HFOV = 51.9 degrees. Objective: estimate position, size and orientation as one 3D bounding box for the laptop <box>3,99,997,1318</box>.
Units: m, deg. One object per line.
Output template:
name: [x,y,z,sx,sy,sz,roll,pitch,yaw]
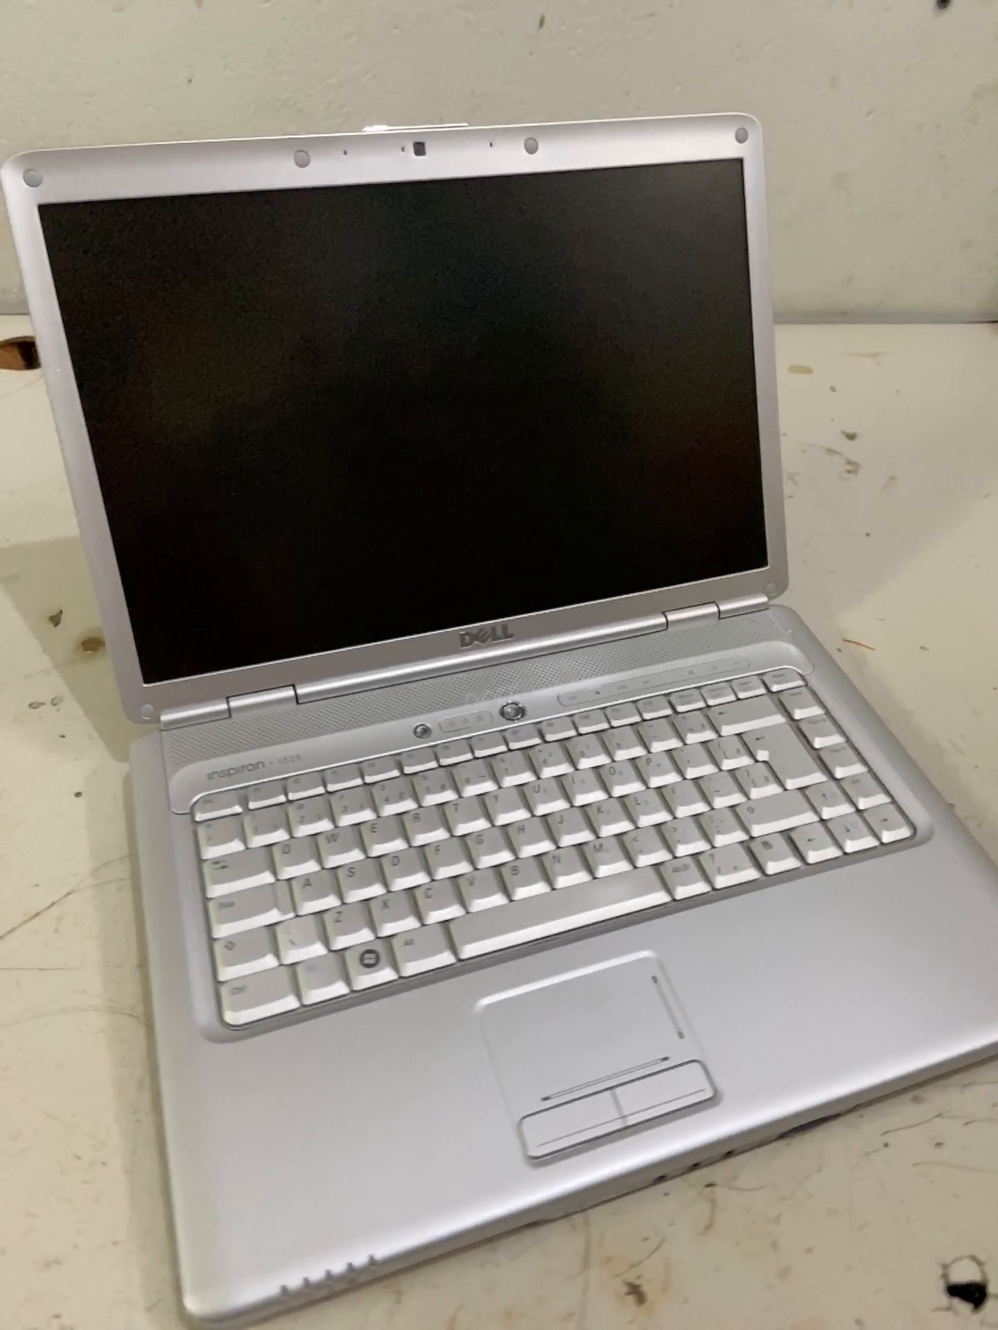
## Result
laptop: [0.018,-0.042,0.412,0.349,0.208,0.379,-11,47,-16]
